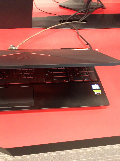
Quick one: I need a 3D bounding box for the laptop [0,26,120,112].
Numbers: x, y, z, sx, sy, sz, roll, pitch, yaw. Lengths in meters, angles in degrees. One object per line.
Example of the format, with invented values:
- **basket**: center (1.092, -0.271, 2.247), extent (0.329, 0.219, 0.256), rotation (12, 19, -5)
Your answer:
- **laptop**: center (-0.088, -0.040, 0.400), extent (0.410, 0.108, 0.198), rotation (-2, 51, -5)
